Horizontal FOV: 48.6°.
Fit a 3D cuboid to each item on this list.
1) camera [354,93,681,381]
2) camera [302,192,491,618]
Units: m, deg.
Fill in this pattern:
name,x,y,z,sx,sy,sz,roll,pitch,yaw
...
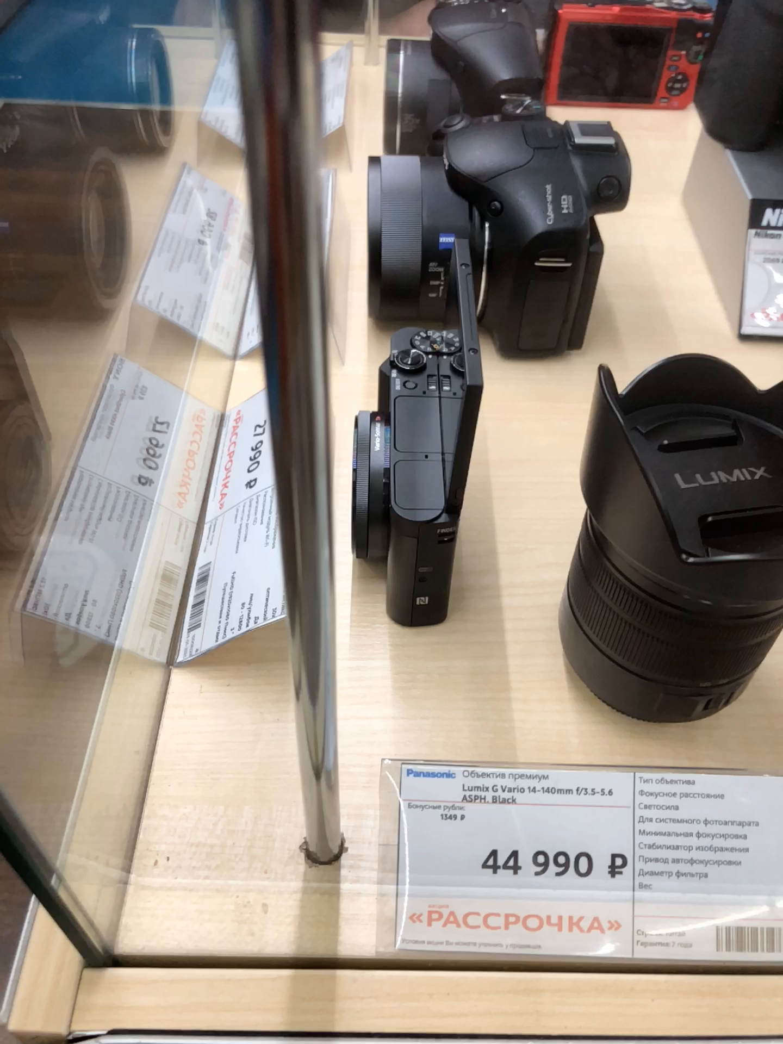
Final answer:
name,x,y,z,sx,sy,sz,roll,pitch,yaw
camera,0.052,-0.145,0.434,0.136,0.078,0.133,2,47,0
camera,0.001,-0.040,0.303,0.050,0.107,0.101,2,47,0
